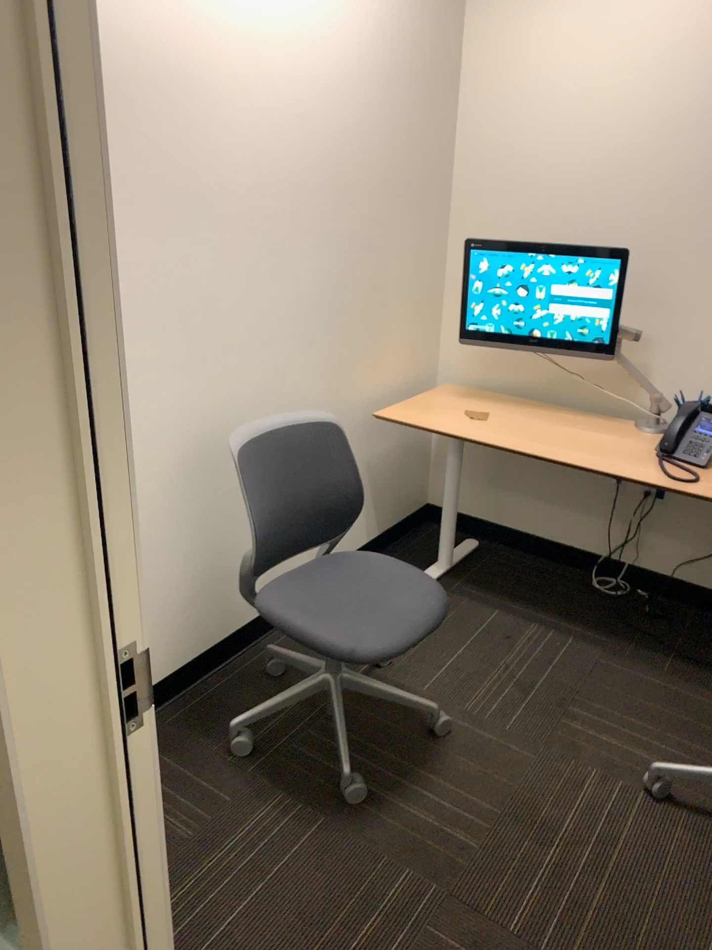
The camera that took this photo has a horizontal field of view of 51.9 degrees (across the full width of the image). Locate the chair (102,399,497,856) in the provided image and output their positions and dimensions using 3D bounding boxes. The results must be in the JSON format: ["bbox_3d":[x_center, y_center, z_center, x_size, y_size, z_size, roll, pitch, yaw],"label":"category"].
[{"bbox_3d":[-0.190,0.357,2.269,0.903,0.886,0.721,22,29,40],"label":"chair"}]
